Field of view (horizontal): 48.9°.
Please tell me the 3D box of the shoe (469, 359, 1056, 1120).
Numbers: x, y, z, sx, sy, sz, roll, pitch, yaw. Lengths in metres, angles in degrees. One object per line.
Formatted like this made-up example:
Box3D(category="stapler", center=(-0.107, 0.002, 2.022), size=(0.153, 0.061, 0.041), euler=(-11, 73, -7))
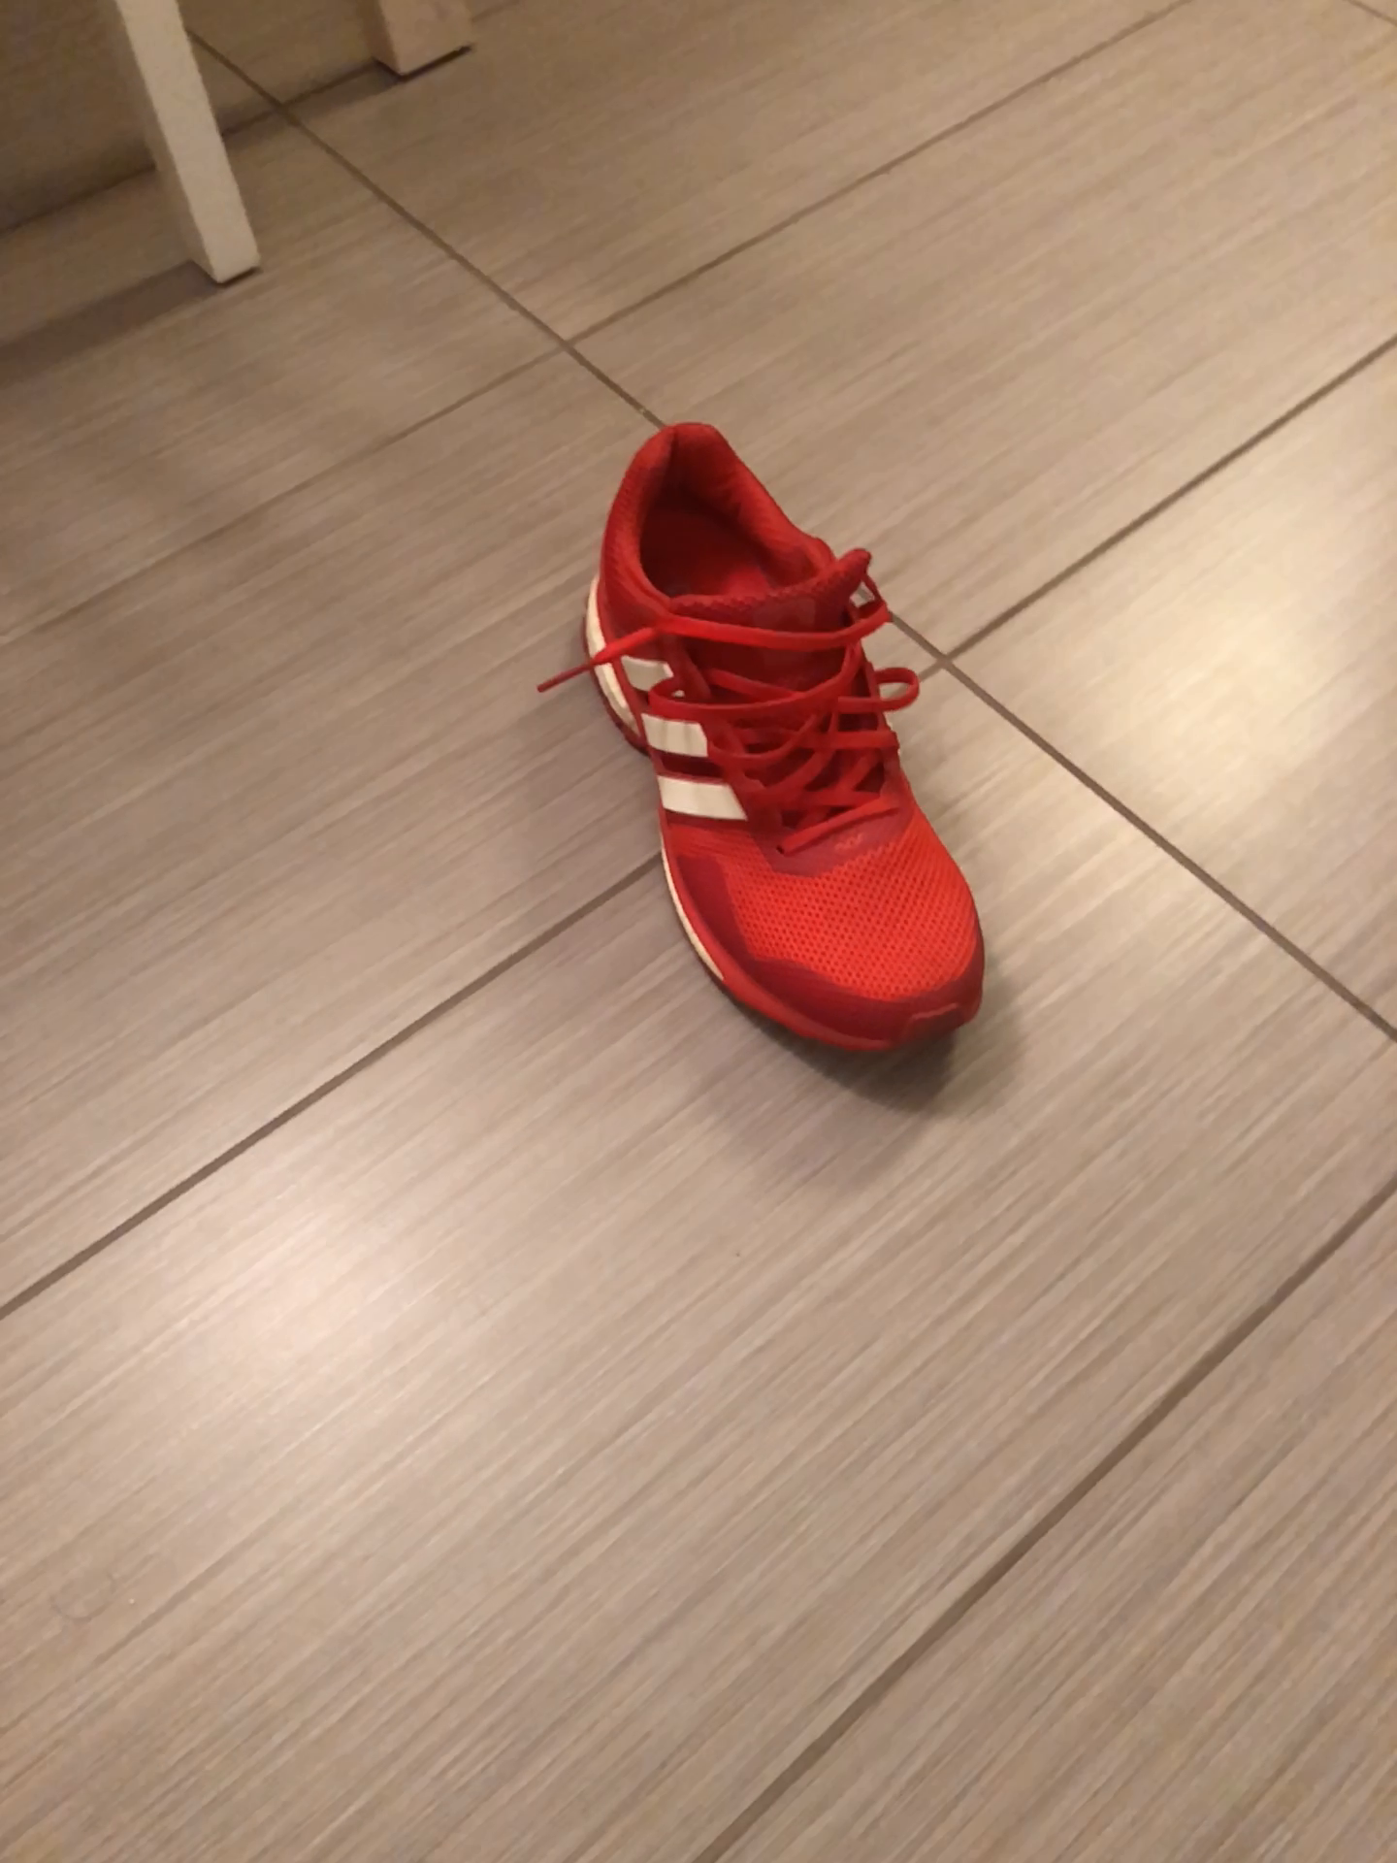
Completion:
Box3D(category="shoe", center=(0.014, -0.088, 0.627), size=(0.120, 0.100, 0.291), euler=(-20, 60, -10))
